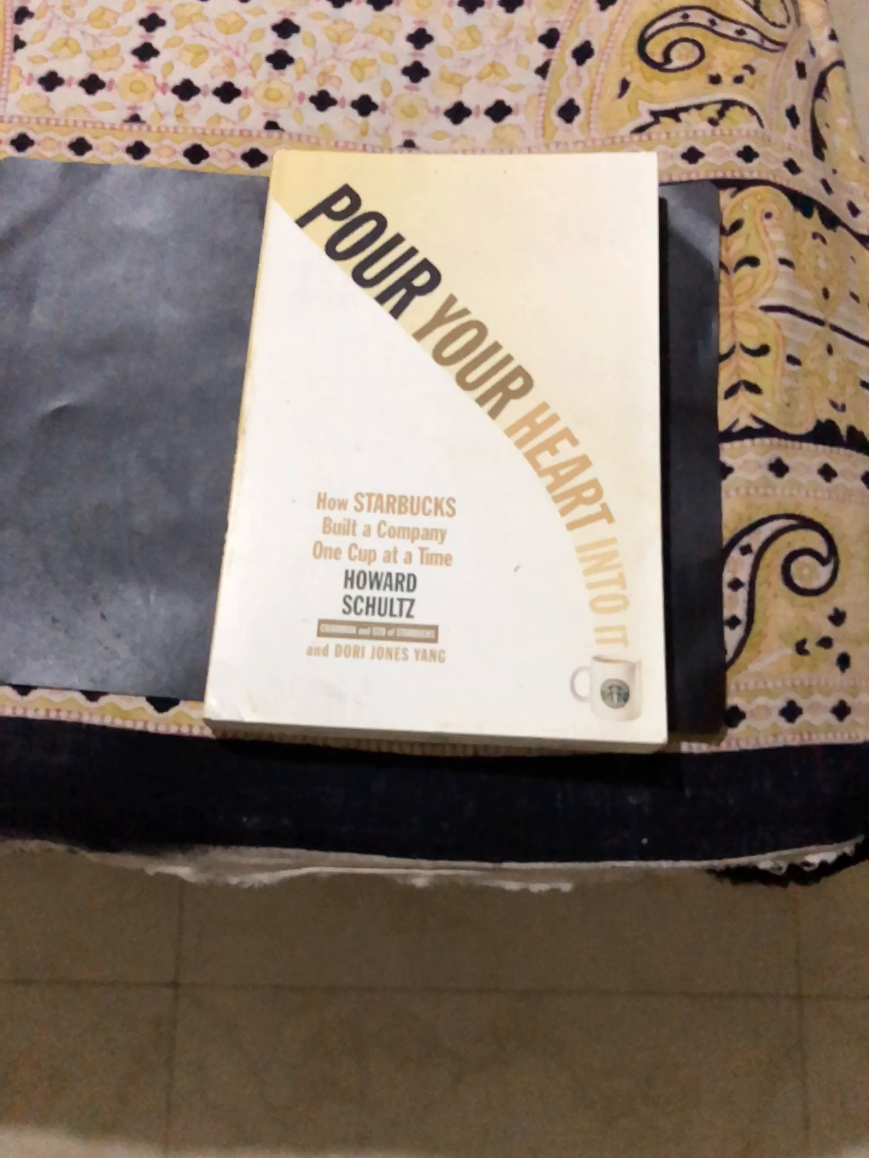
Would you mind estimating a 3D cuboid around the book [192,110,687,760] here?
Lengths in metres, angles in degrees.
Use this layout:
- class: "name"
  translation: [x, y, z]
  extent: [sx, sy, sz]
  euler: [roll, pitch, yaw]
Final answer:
- class: "book"
  translation: [0.008, -0.059, 0.372]
  extent: [0.160, 0.050, 0.240]
  euler: [3, 73, 1]
